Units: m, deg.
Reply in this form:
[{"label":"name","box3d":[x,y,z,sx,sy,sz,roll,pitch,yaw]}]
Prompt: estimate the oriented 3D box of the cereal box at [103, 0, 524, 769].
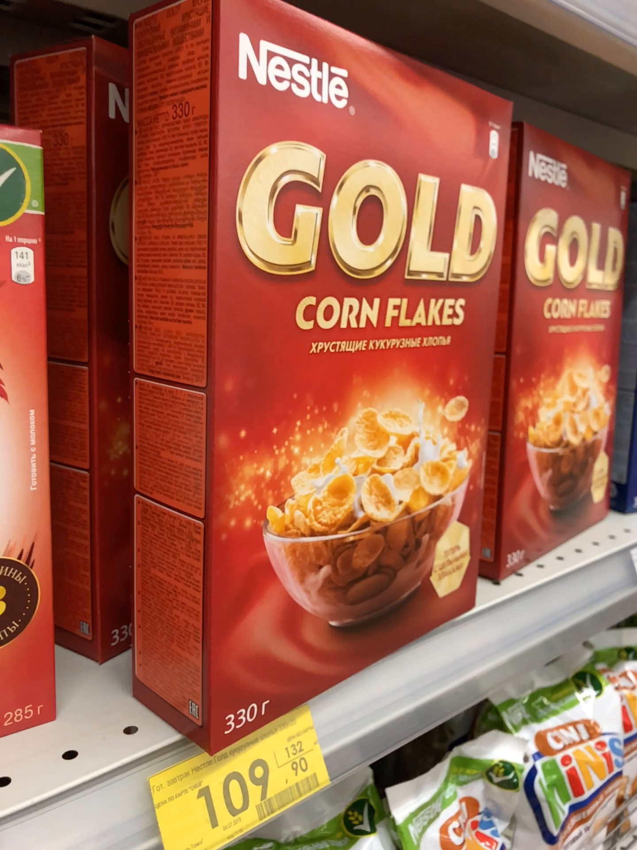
[{"label":"cereal box","box3d":[0.007,-0.025,0.331,0.060,0.279,0.201,12,15,42]}]
